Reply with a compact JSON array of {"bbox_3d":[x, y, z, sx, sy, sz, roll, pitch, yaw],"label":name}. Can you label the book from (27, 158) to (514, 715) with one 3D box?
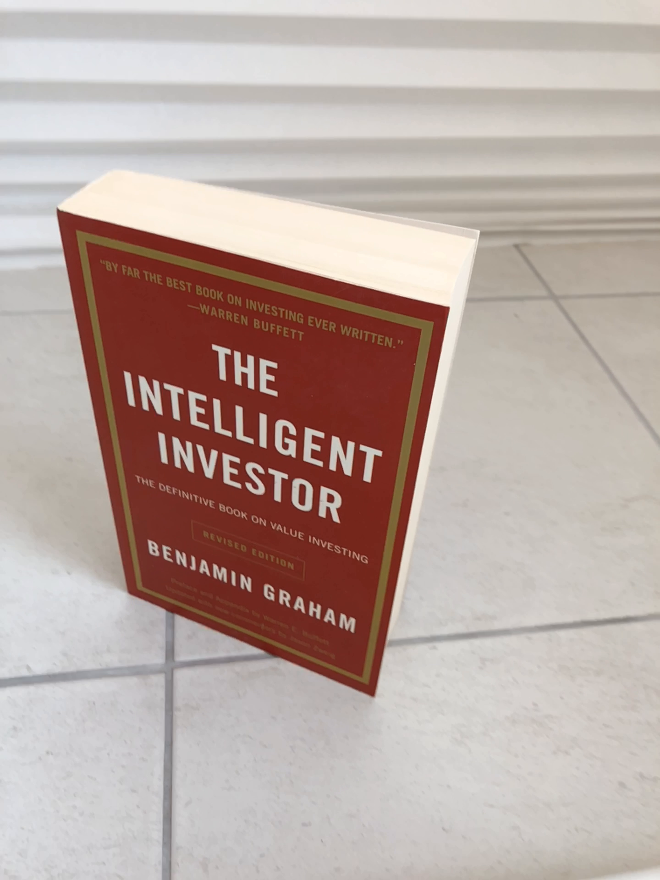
[{"bbox_3d":[-0.024,0.009,0.308,0.149,0.206,0.057,17,42,15],"label":"book"}]
